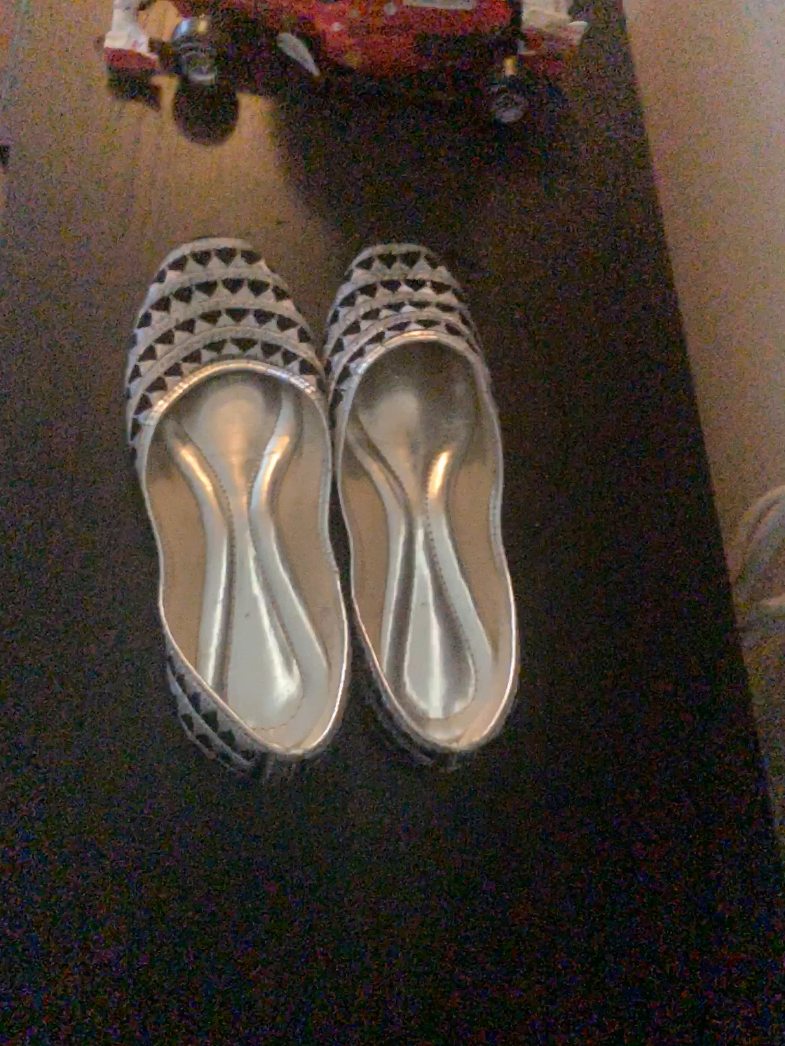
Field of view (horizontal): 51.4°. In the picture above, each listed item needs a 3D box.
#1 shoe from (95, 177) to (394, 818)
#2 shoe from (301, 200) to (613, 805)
[{"bbox_3d":[-0.072,-0.019,0.366,0.095,0.070,0.271,-5,73,-13],"label":"shoe"},{"bbox_3d":[0.019,-0.016,0.387,0.095,0.070,0.271,-3,72,-13],"label":"shoe"}]
